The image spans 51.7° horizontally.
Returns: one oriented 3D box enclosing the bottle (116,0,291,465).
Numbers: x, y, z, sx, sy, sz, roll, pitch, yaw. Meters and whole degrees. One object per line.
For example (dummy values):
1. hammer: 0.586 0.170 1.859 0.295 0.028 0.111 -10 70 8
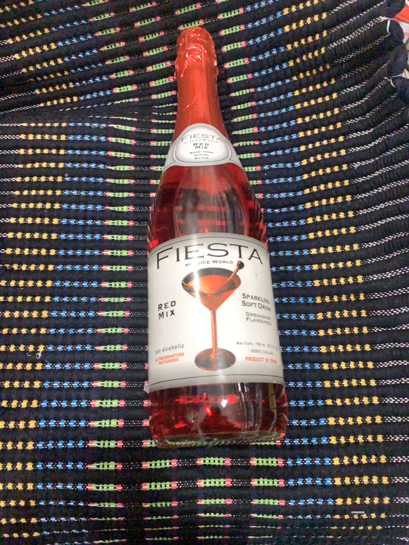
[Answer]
1. bottle: -0.011 -0.046 0.284 0.080 0.070 0.311 -5 68 1
